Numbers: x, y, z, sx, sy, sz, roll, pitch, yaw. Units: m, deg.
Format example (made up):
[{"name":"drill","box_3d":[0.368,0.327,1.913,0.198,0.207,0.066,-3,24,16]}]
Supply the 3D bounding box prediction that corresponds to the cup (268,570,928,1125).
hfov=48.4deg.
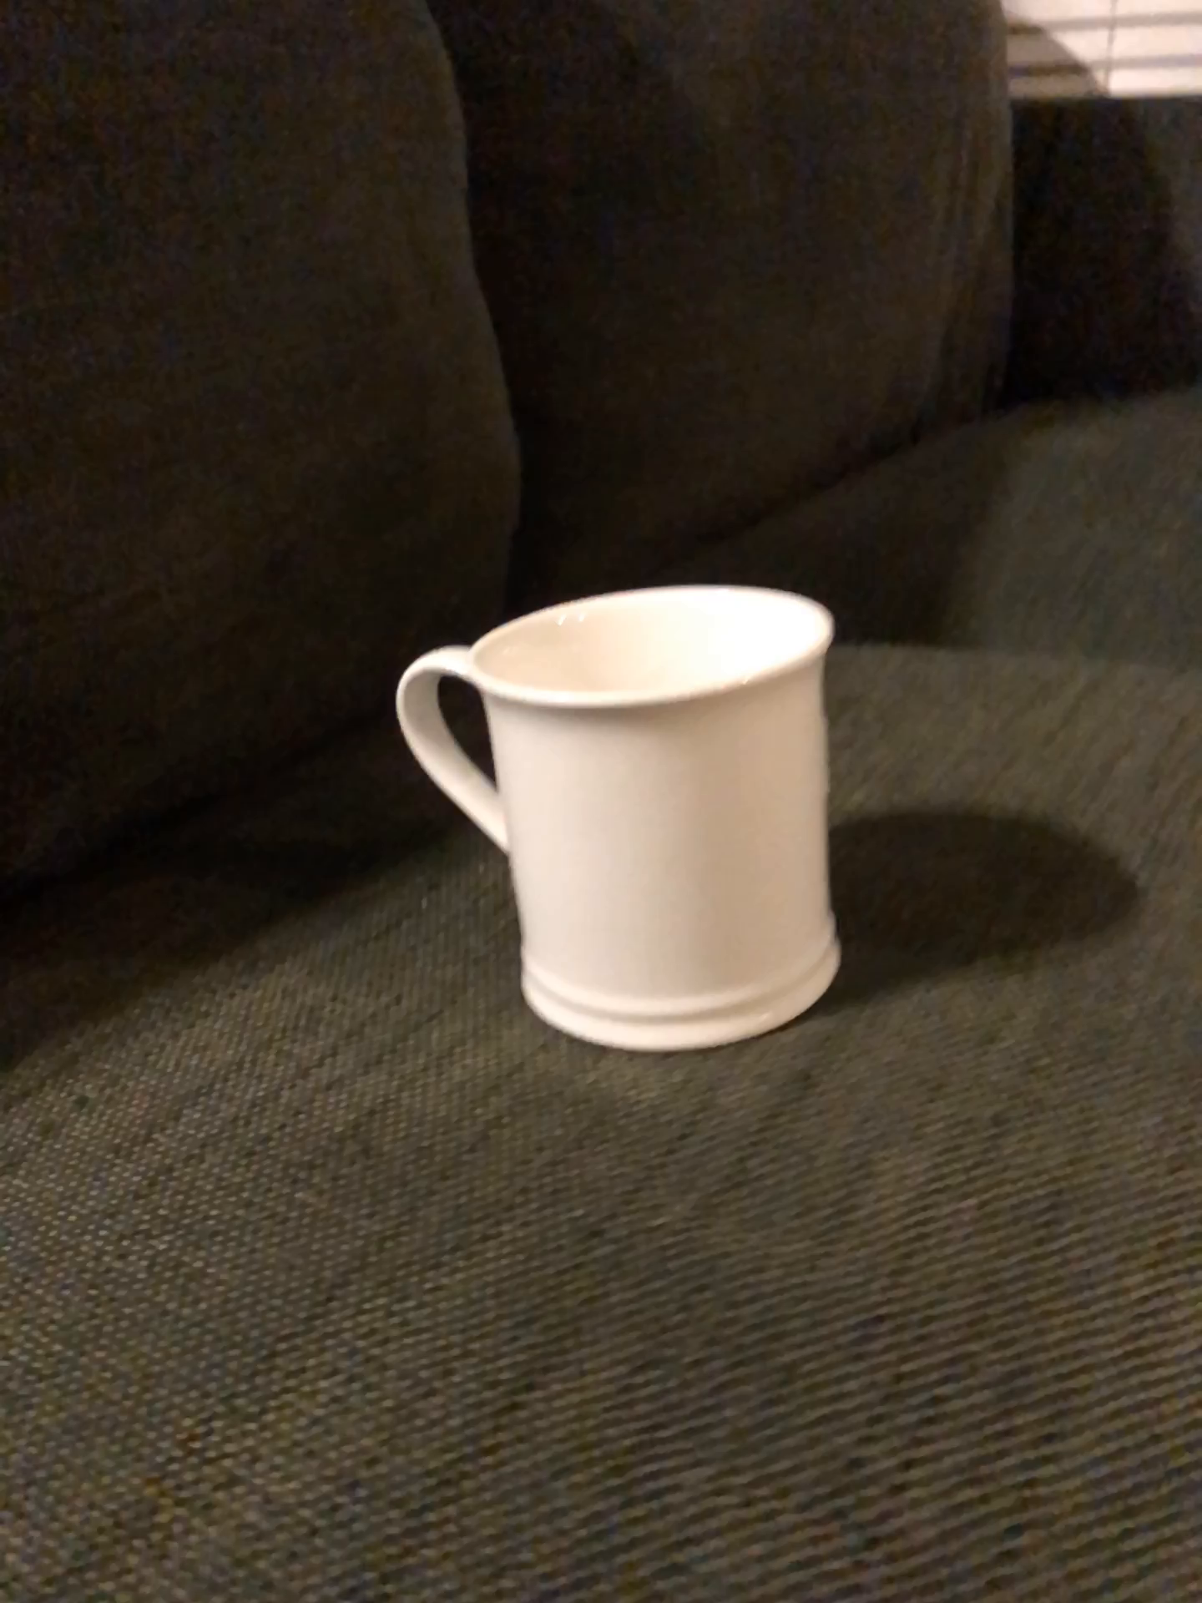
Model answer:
[{"name":"cup","box_3d":[0.006,0.002,0.362,0.140,0.100,0.100,7,26,25]}]
